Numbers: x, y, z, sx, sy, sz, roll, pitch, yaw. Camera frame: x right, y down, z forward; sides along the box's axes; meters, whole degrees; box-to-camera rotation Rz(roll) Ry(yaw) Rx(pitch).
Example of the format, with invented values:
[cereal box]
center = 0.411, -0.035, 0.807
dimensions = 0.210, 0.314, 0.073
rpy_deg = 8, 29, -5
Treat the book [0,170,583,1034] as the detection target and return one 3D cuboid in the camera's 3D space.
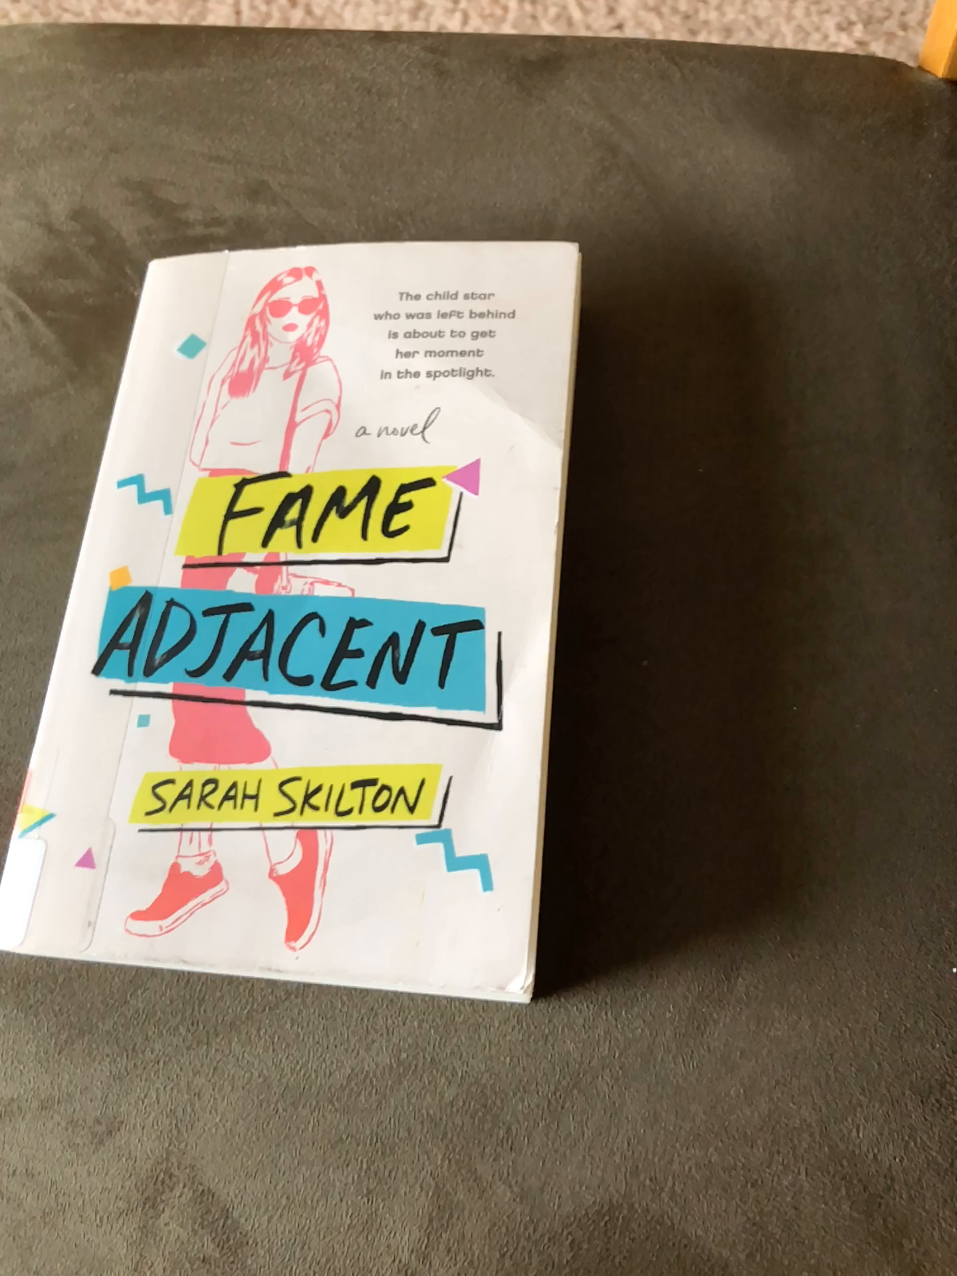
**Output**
[book]
center = -0.051, -0.019, 0.283
dimensions = 0.140, 0.040, 0.220
rpy_deg = 2, 69, 11
